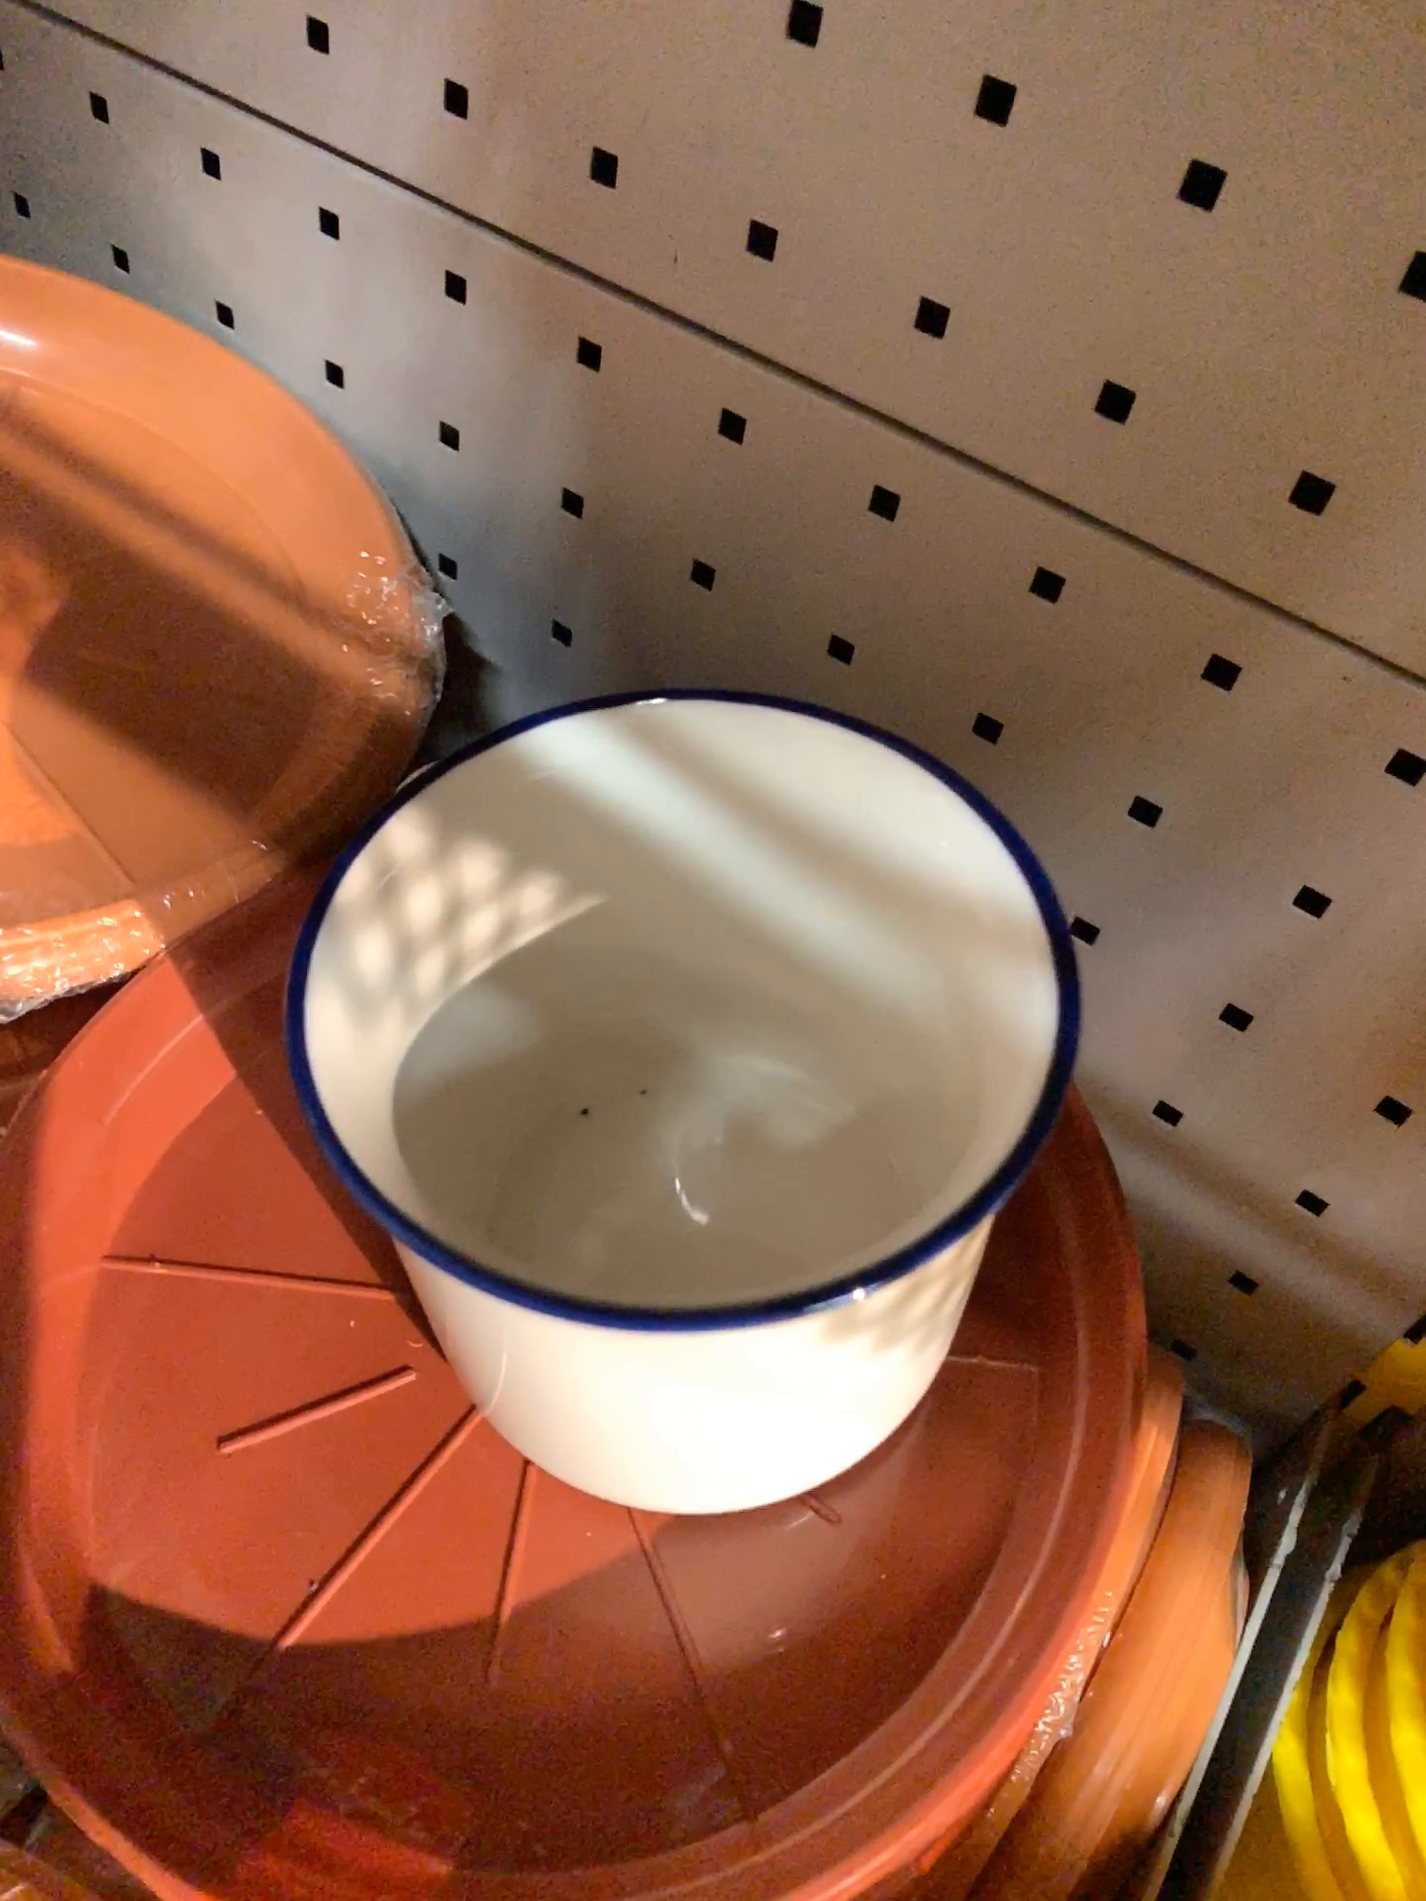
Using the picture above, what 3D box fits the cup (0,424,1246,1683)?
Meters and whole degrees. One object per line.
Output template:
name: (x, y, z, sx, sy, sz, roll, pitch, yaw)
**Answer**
cup: (-0.016, 0.013, 0.204, 0.090, 0.090, 0.120, -38, 64, -22)
